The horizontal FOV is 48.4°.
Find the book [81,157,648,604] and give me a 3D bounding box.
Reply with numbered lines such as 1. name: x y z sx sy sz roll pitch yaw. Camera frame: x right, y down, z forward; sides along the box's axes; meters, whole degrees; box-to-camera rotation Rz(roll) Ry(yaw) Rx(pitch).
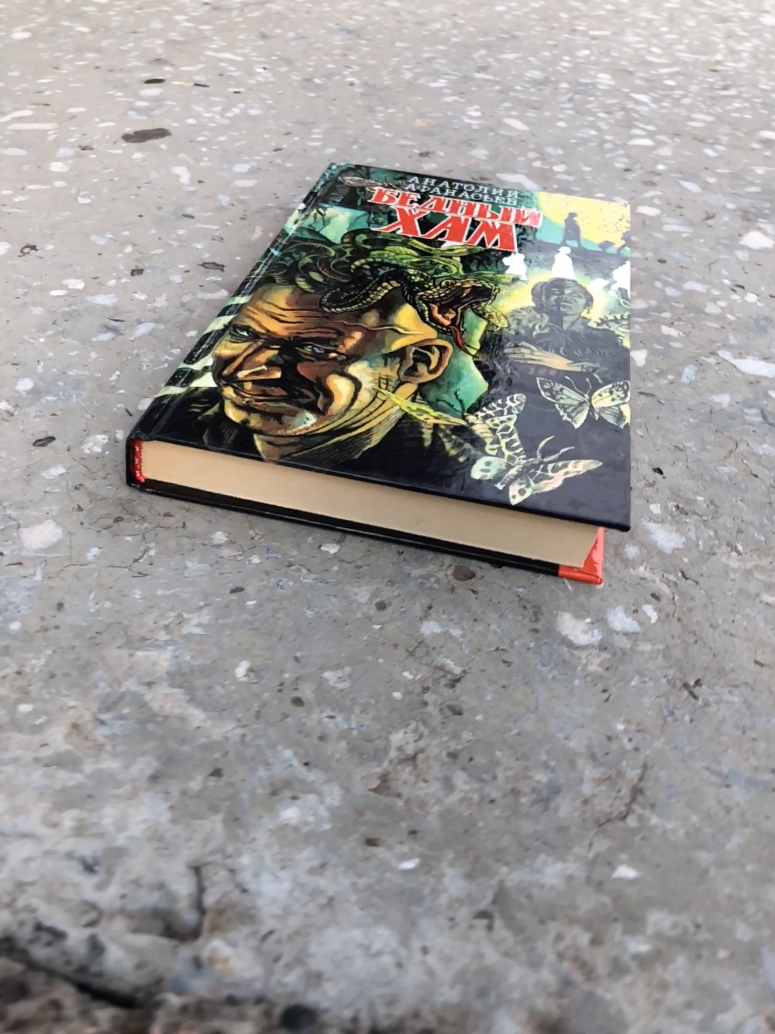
1. book: 0.013 -0.066 0.292 0.142 0.020 0.202 11 44 8
